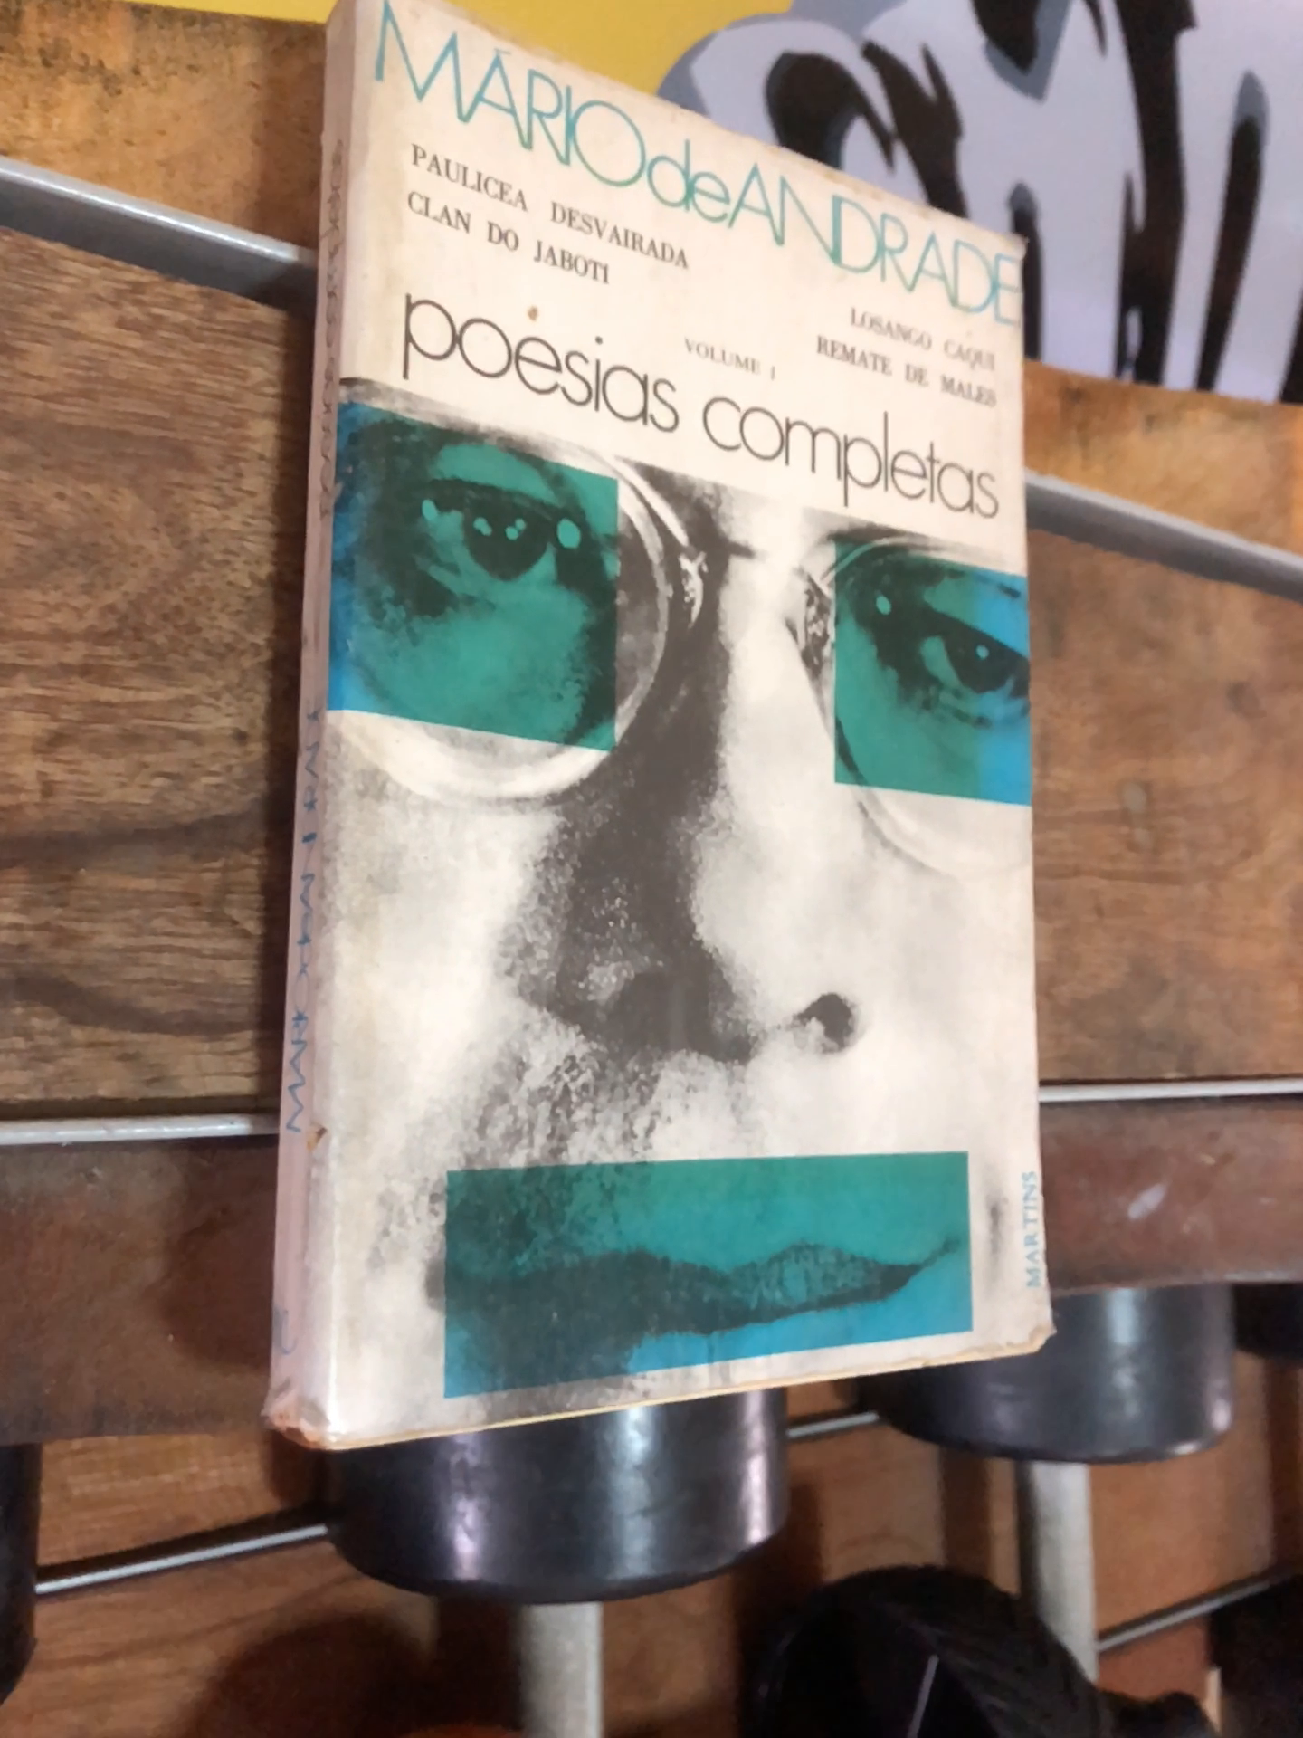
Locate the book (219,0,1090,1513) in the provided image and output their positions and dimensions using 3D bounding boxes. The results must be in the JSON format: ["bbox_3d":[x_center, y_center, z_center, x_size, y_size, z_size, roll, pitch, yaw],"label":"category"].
[{"bbox_3d":[0.012,-0.024,0.226,0.141,0.020,0.209,6,82,-33],"label":"book"}]
